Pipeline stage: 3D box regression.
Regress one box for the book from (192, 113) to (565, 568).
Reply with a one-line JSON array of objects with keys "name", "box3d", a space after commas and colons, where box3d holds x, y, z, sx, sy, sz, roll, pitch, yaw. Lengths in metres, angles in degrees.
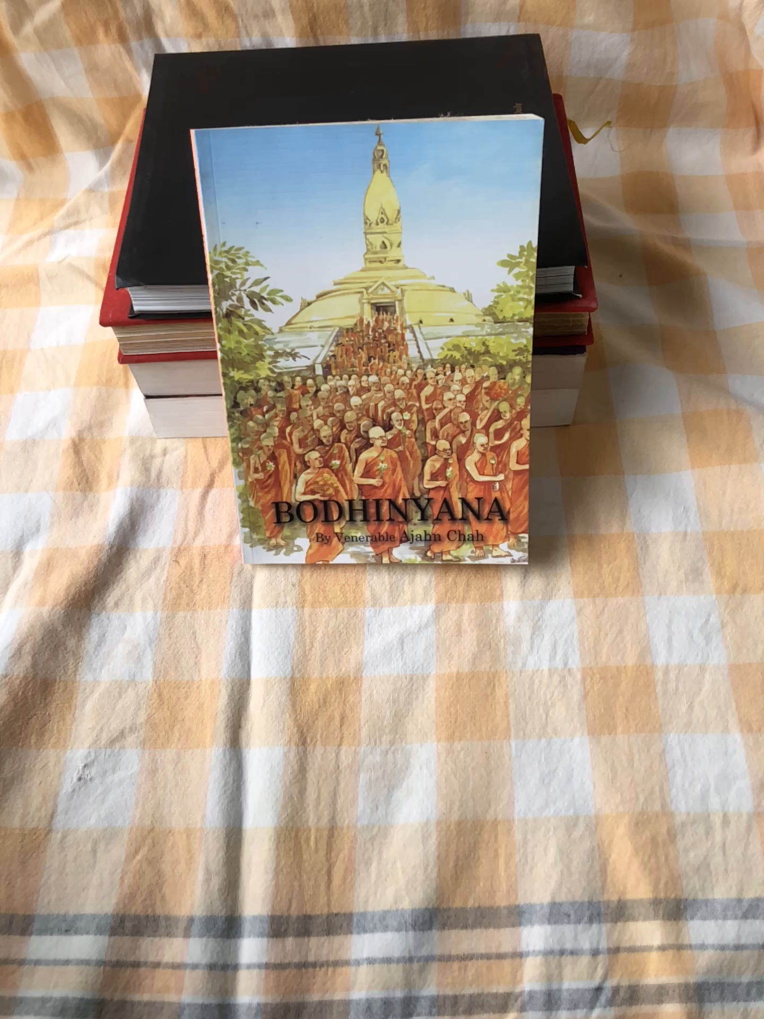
[{"name": "book", "box3d": [0.000, -0.071, 0.389, 0.150, 0.200, 0.030, 1, 22, 4]}]
